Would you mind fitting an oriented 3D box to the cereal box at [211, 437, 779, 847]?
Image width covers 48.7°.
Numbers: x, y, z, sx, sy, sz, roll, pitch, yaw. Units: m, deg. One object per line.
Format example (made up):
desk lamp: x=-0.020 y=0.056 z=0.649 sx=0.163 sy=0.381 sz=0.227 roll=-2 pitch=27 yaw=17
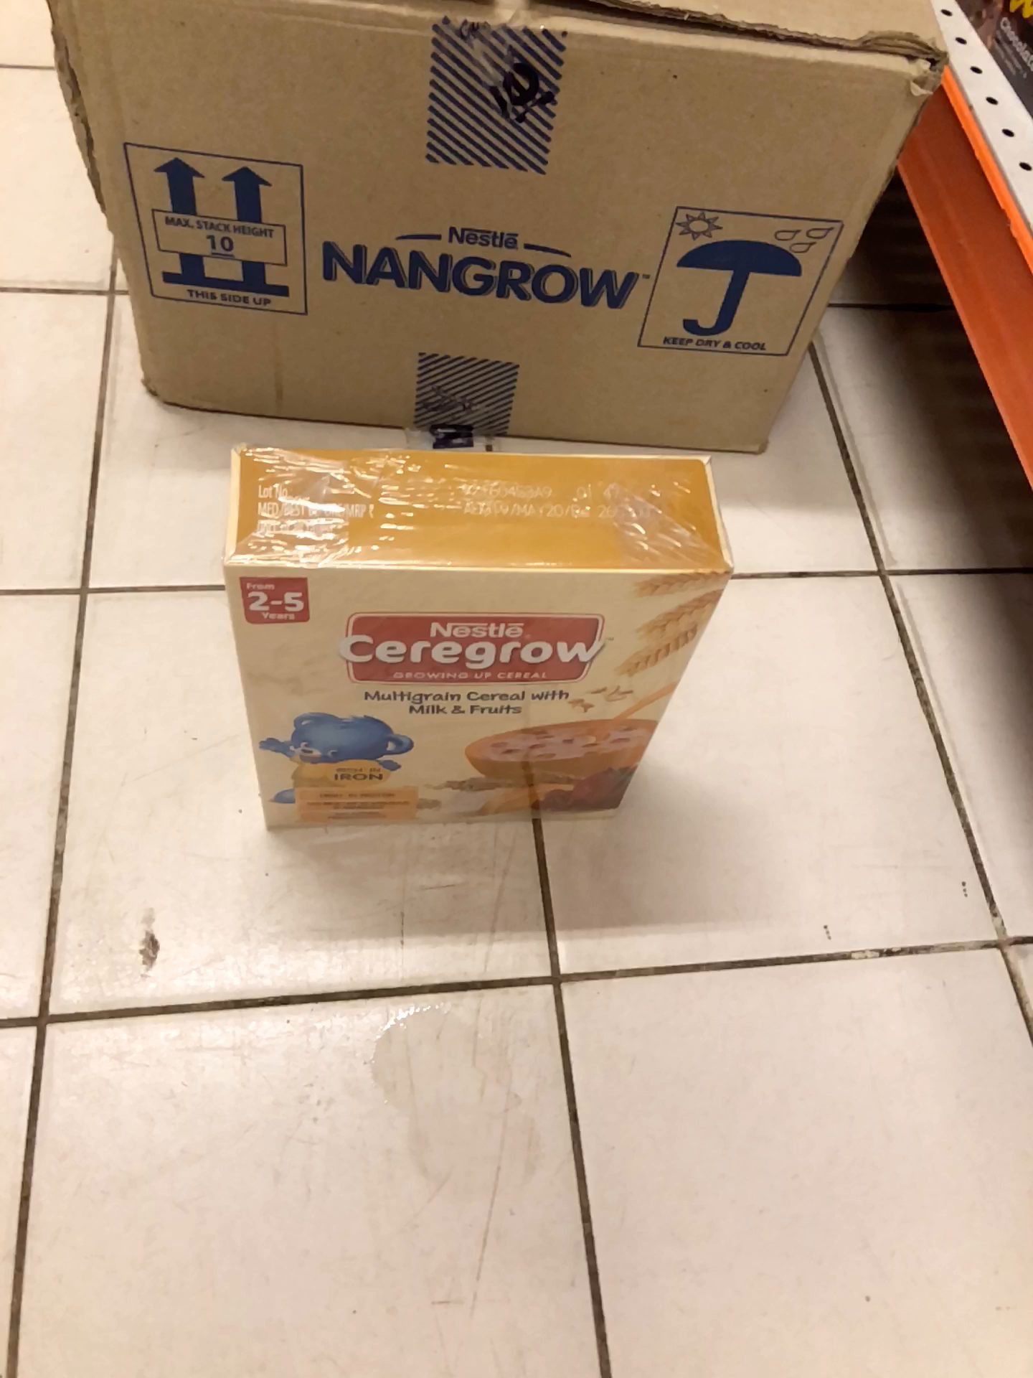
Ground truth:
cereal box: x=-0.017 y=-0.006 z=0.412 sx=0.160 sy=0.189 sz=0.050 roll=-1 pitch=60 yaw=-9
